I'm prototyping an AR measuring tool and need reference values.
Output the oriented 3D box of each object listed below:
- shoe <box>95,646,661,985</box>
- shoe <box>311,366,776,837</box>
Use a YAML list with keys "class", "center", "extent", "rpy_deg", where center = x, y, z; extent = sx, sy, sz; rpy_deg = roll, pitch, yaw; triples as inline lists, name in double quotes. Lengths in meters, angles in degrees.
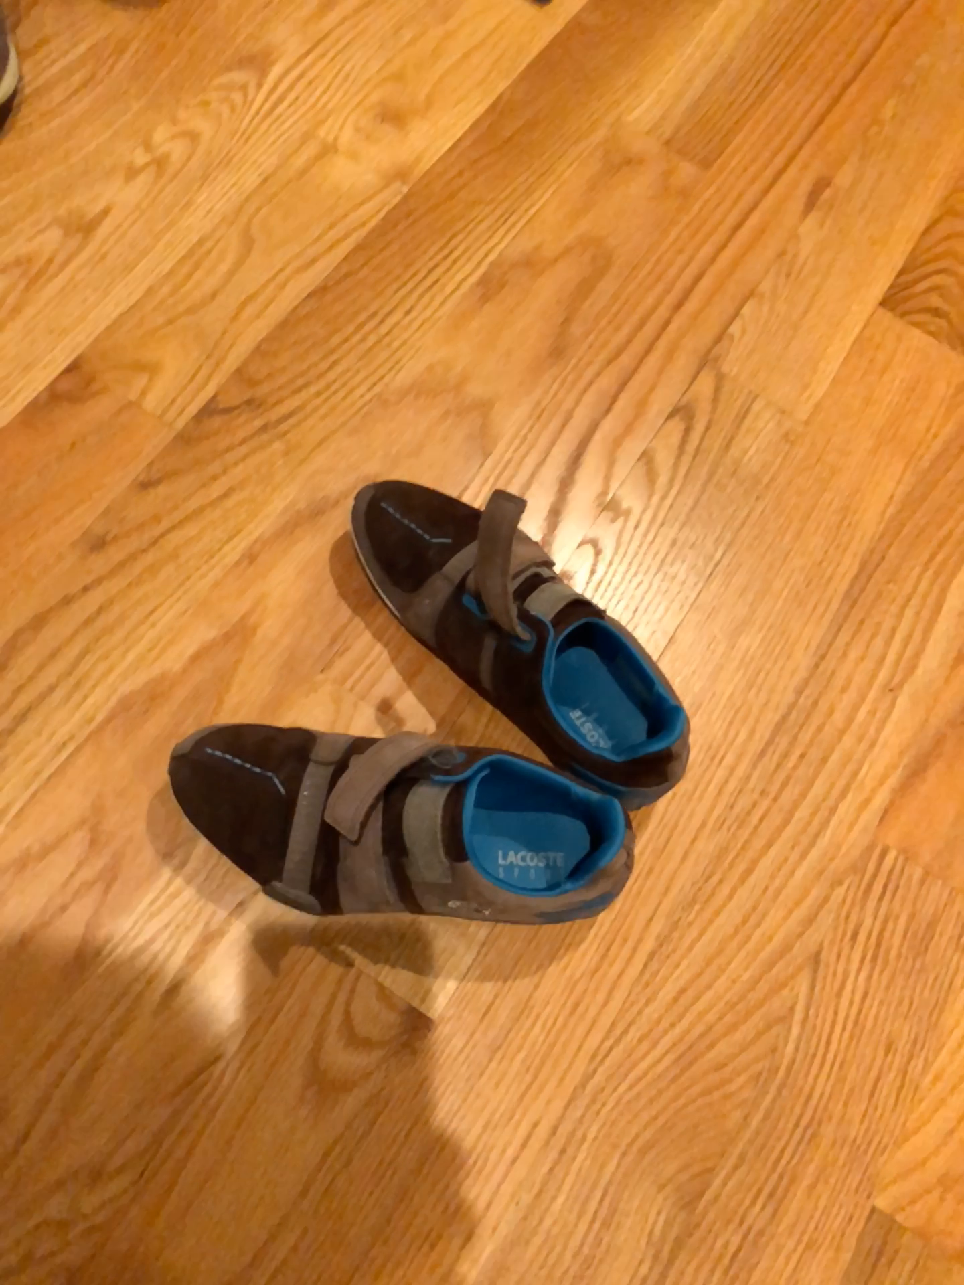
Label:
- class: "shoe"
  center: [-0.049, 0.095, 0.552]
  extent: [0.255, 0.092, 0.102]
  rpy_deg: [14, 67, -4]
- class: "shoe"
  center: [0.026, -0.023, 0.613]
  extent: [0.255, 0.092, 0.102]
  rpy_deg: [44, 68, 9]
